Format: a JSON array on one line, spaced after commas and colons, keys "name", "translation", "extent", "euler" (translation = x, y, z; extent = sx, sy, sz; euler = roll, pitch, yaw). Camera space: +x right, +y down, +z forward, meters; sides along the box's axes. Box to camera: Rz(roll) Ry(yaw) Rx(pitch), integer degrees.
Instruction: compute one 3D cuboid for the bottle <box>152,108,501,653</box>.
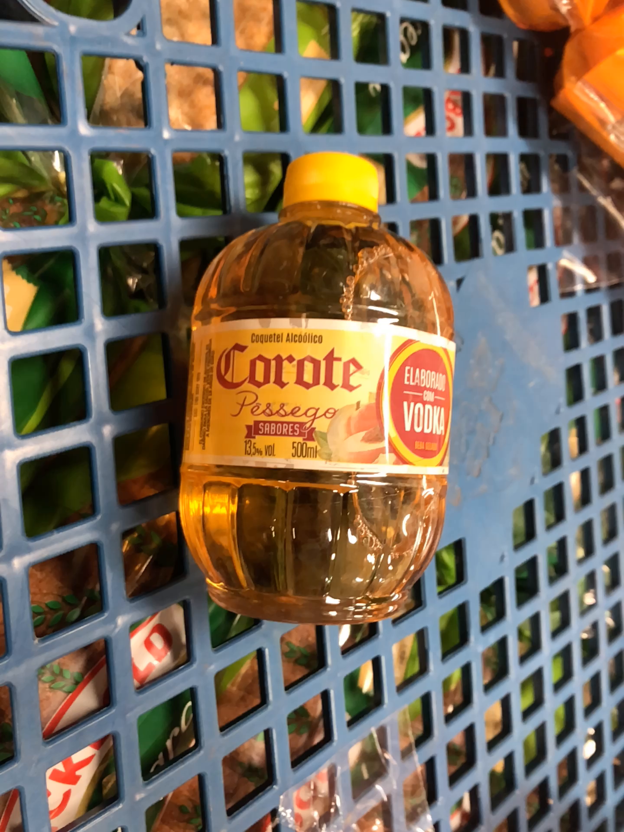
[{"name": "bottle", "translation": [0.002, -0.007, 0.207], "extent": [0.080, 0.070, 0.130], "euler": [3, 87, -6]}]
